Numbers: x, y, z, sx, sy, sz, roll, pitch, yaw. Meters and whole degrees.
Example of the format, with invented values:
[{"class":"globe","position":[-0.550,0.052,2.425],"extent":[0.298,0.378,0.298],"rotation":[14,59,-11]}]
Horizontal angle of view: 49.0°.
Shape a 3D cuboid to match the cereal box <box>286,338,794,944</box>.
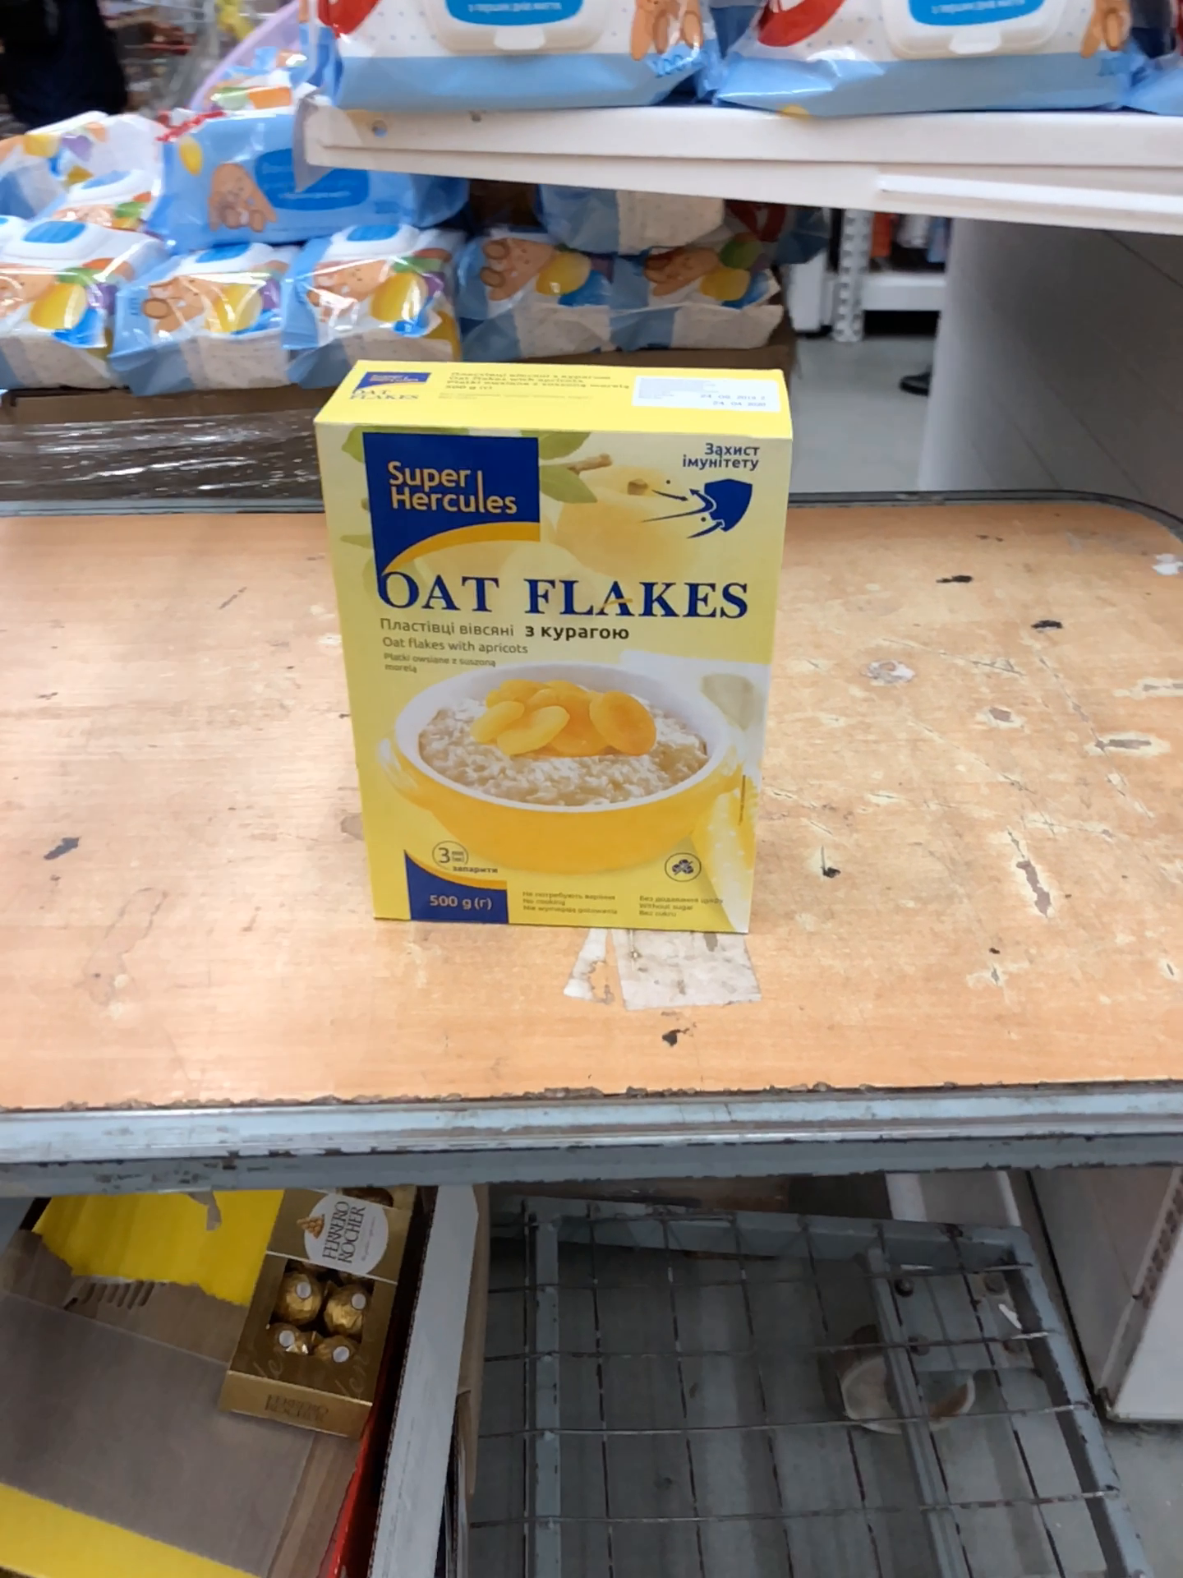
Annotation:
[{"class":"cereal box","position":[-0.011,-0.050,0.469],"extent":[0.150,0.199,0.081],"rotation":[2,34,5]}]
